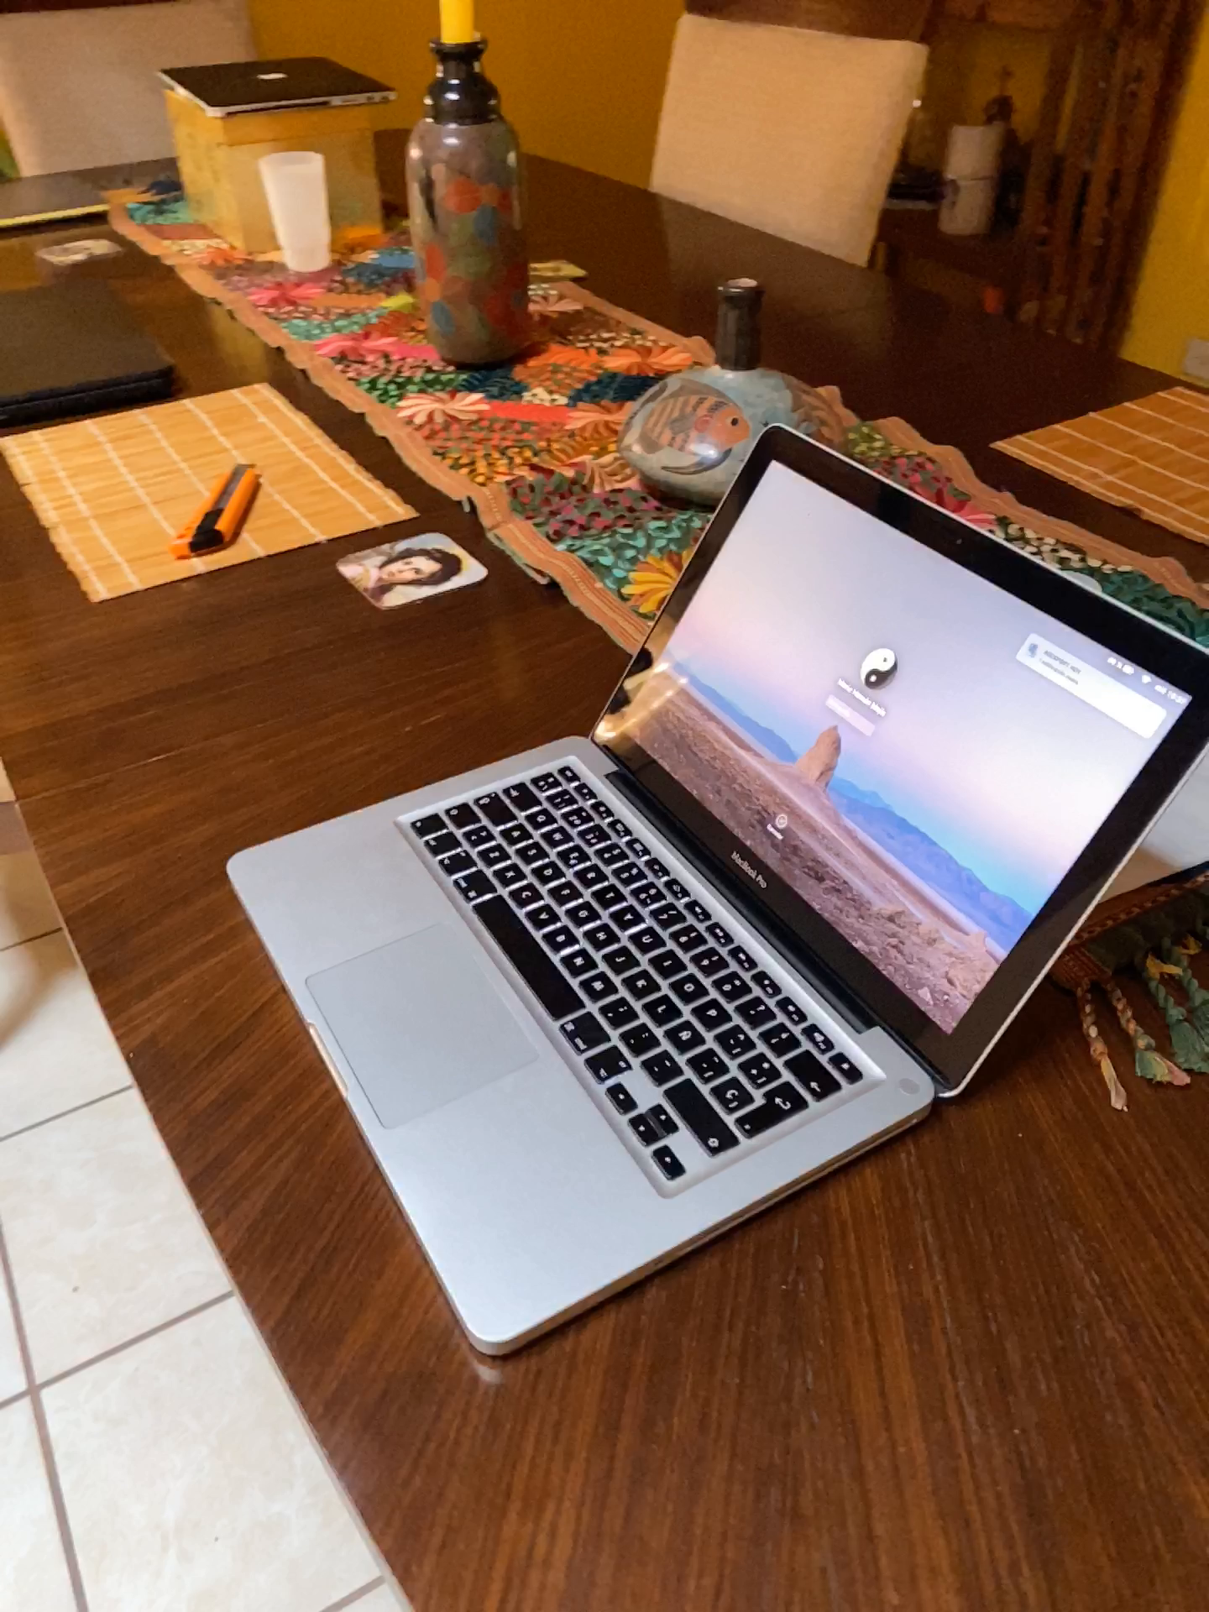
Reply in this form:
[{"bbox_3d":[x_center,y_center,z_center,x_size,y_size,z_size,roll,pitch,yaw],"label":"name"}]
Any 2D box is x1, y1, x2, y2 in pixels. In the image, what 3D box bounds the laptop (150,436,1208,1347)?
[{"bbox_3d":[0.024,-0.006,0.593,0.358,0.171,0.326,-21,42,-23],"label":"laptop"}]
